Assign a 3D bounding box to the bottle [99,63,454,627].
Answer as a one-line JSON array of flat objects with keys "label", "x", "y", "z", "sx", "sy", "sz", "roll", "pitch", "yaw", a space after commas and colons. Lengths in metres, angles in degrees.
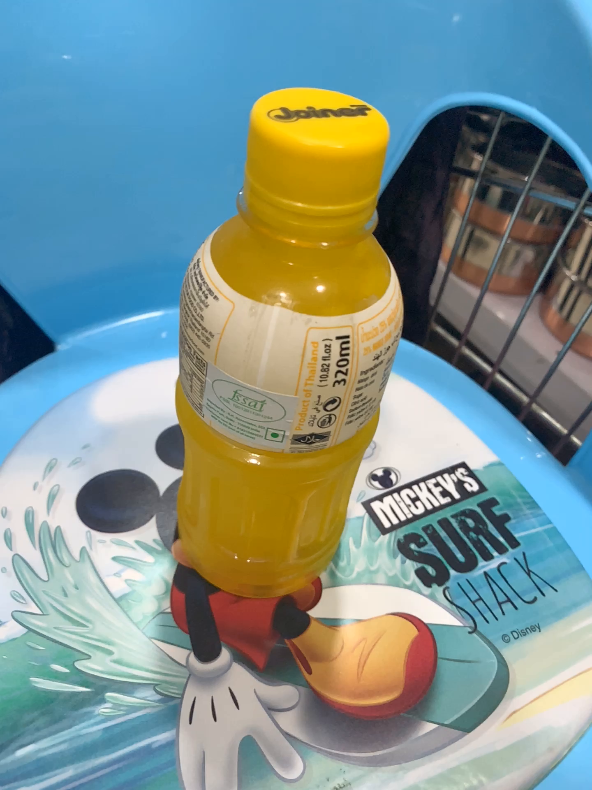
[{"label": "bottle", "x": -0.003, "y": -0.004, "z": 0.172, "sx": 0.060, "sy": 0.139, "sz": 0.060, "roll": 3, "pitch": 43, "yaw": -3}]
